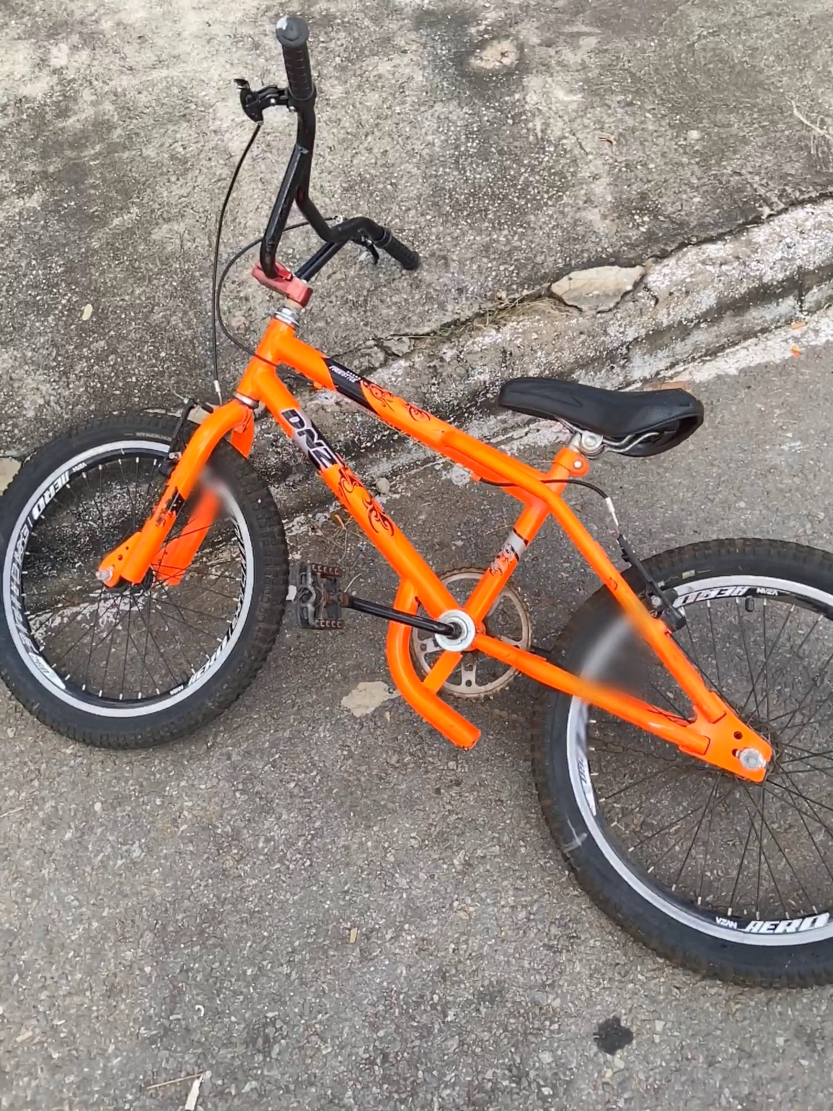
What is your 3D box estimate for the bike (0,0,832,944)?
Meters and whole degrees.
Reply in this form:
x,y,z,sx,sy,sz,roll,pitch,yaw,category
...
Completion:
x,y,z,sx,sy,sz,roll,pitch,yaw,category
0.117,-0.245,1.118,1.354,0.858,0.748,17,57,19,bike
